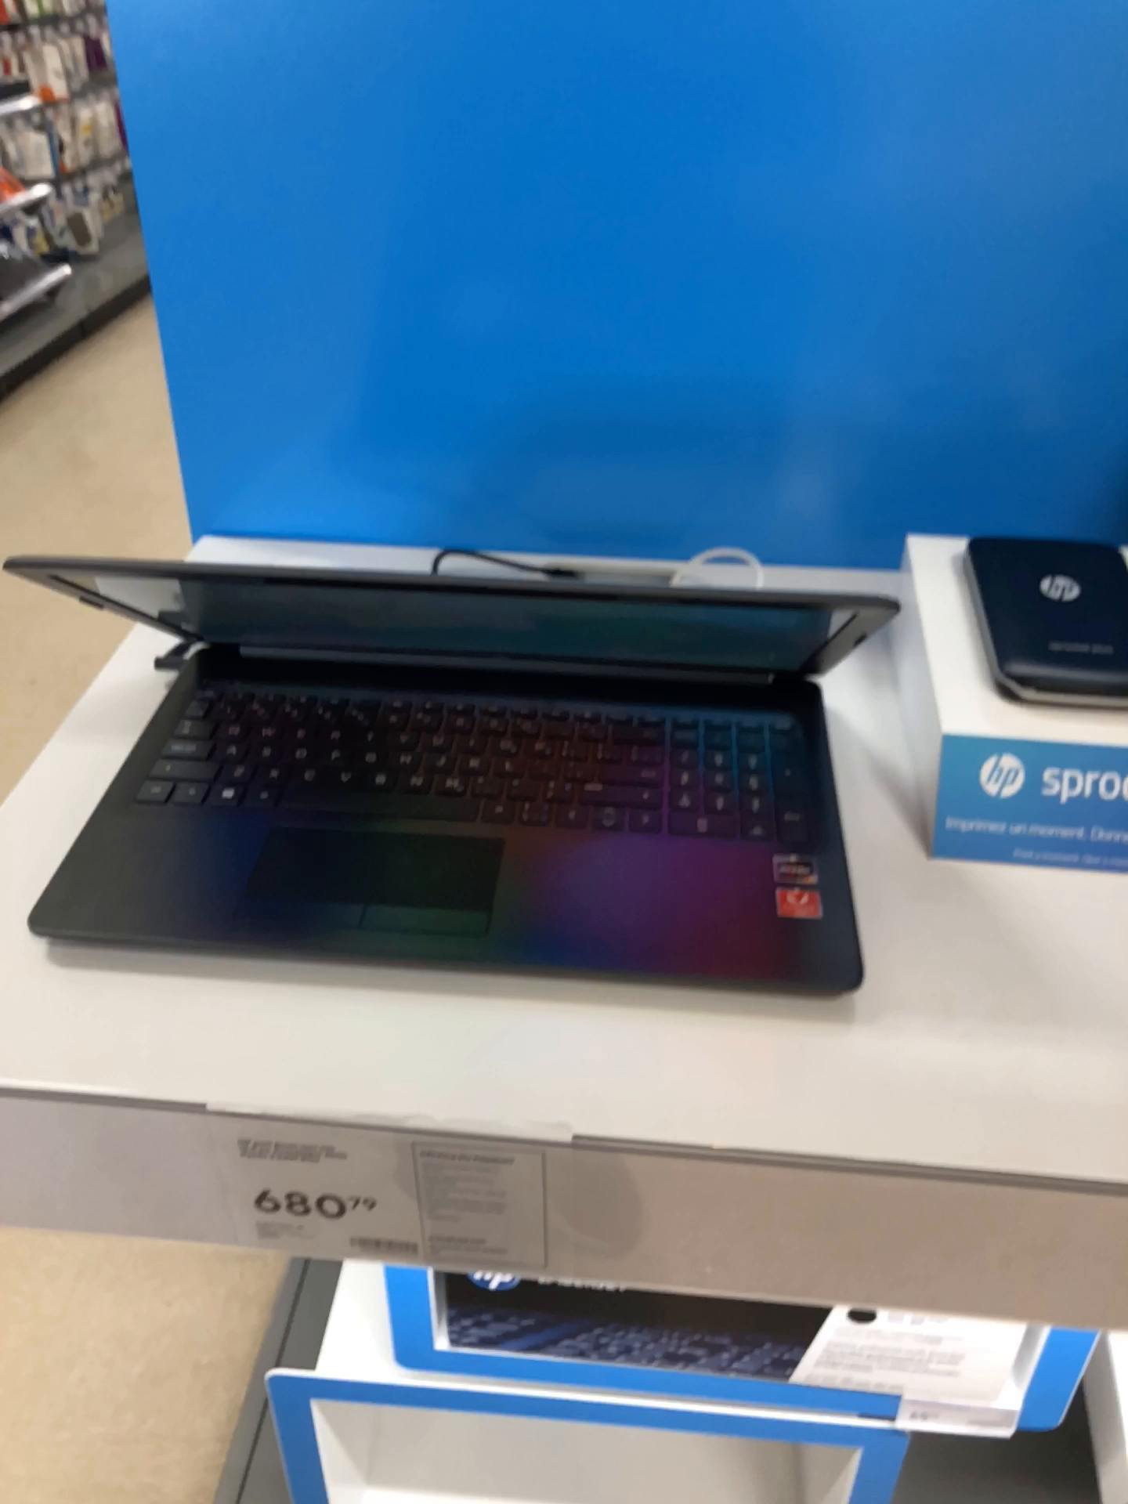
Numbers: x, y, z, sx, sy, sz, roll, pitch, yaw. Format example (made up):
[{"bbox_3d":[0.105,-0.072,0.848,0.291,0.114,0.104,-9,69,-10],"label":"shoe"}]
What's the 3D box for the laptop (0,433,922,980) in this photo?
[{"bbox_3d":[-0.040,-0.037,0.595,0.355,0.130,0.243,4,34,1],"label":"laptop"}]
